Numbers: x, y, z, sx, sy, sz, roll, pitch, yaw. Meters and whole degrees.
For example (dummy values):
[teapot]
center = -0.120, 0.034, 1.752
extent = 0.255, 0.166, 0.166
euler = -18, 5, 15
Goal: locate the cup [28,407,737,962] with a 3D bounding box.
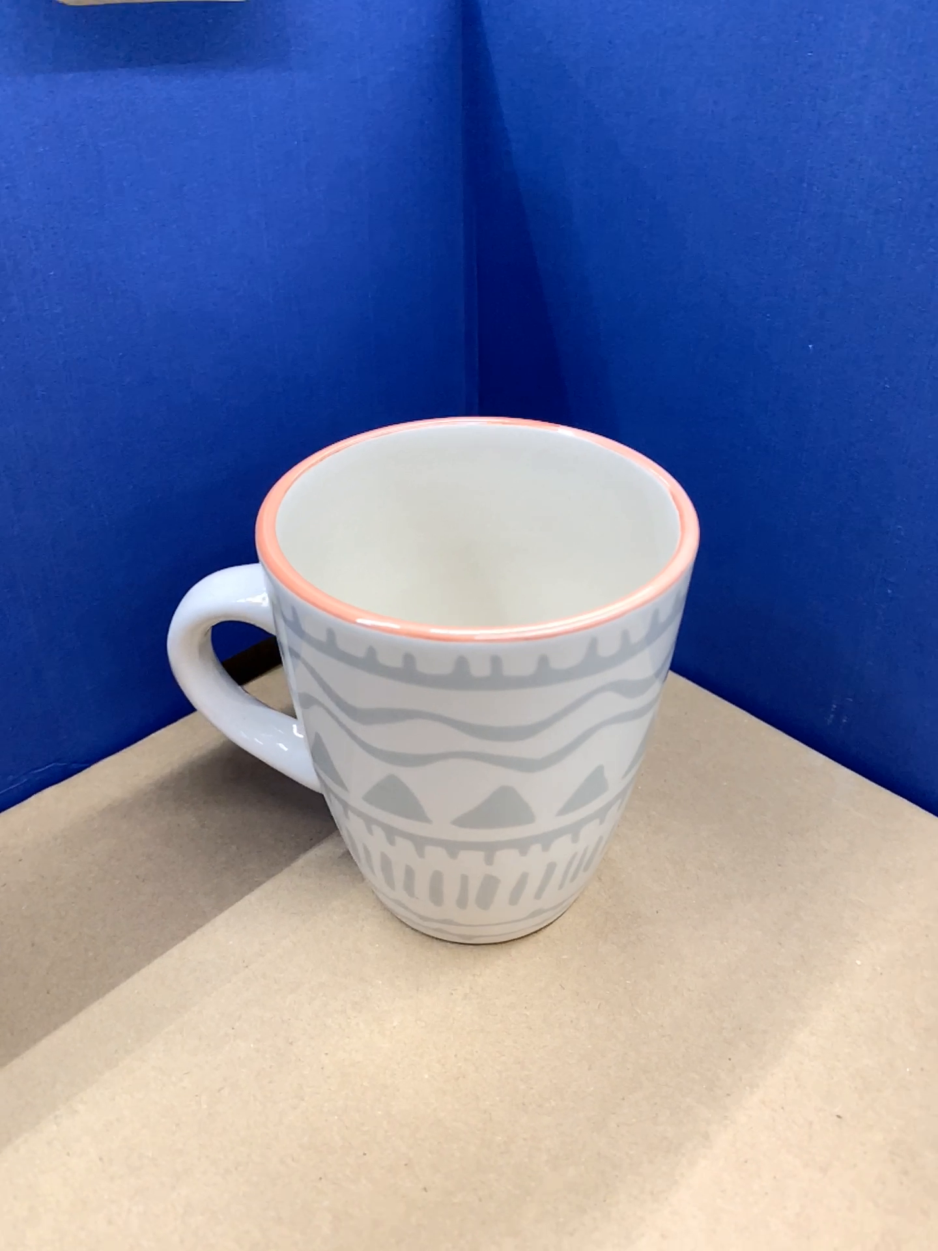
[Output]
[cup]
center = -0.013, 0.008, 0.225
extent = 0.118, 0.082, 0.097
euler = 2, 34, 3
